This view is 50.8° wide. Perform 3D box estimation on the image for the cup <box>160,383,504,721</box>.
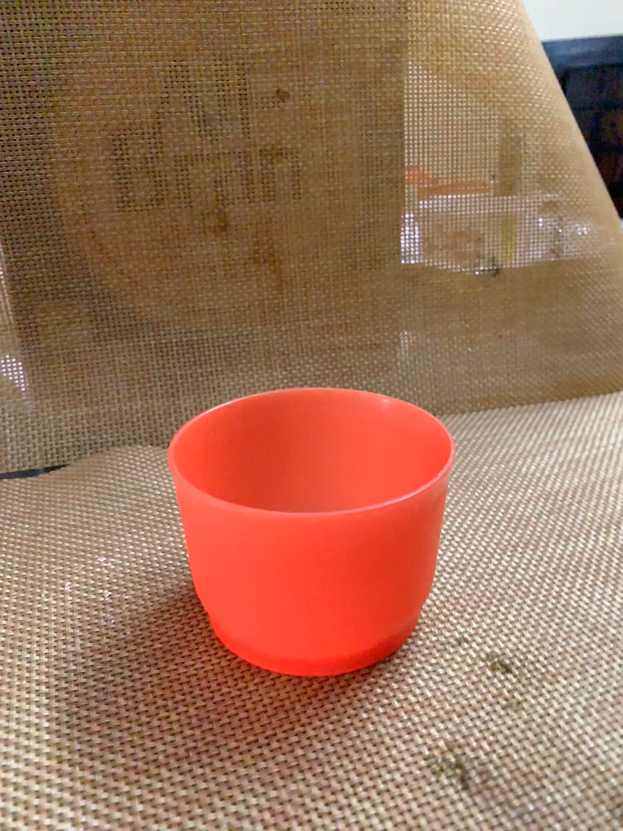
[{"bbox_3d":[0.001,0.029,0.173,0.070,0.050,0.070,-1,23,0],"label":"cup"}]
